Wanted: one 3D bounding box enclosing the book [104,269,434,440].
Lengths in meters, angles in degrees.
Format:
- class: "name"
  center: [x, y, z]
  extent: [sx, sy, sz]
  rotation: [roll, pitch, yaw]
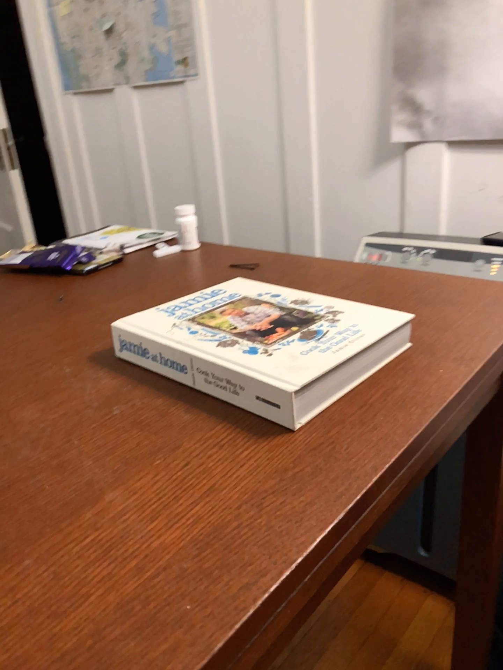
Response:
- class: "book"
  center: [0.014, -0.002, 0.567]
  extent: [0.260, 0.040, 0.211]
  rotation: [16, 31, 41]
